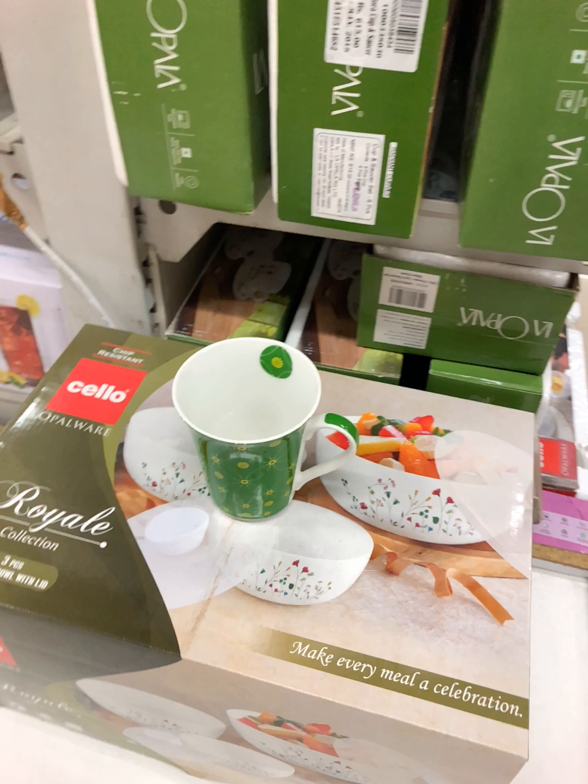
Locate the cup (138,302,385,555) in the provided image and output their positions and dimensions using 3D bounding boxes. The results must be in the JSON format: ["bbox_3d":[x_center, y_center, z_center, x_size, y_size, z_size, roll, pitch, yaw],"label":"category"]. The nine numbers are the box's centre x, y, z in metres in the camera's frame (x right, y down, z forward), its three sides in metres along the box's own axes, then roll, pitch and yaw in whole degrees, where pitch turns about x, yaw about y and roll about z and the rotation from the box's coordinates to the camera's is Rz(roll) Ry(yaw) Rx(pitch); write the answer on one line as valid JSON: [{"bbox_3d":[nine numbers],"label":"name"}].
[{"bbox_3d":[-0.014,0.019,0.381,0.110,0.089,0.091,12,45,10],"label":"cup"}]
